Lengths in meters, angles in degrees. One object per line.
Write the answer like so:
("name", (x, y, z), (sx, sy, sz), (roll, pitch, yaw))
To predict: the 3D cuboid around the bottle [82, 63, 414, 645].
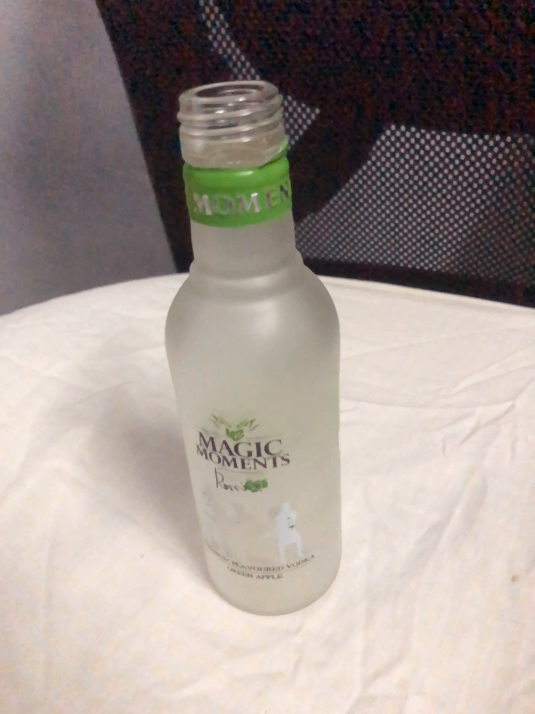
("bottle", (0.004, 0.010, 0.180), (0.060, 0.169, 0.050), (8, 37, 16))
